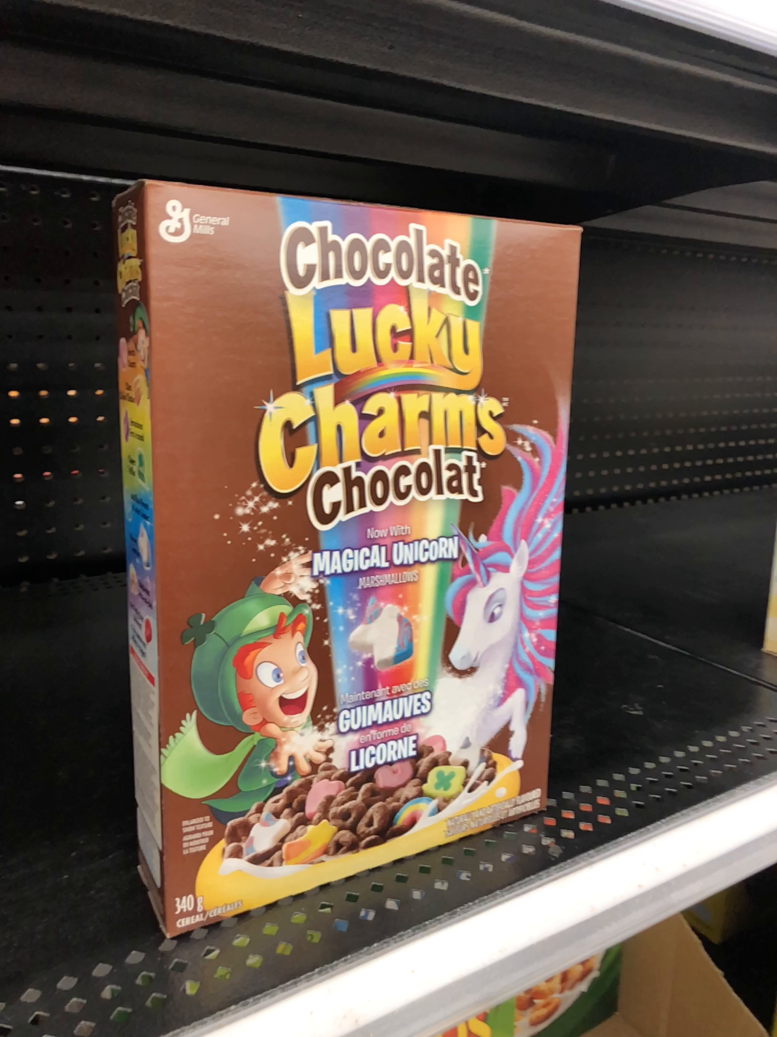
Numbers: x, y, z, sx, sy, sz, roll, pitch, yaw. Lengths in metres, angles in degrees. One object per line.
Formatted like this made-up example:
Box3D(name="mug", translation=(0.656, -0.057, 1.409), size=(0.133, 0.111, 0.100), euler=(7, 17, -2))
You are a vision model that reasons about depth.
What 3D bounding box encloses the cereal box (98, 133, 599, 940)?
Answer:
Box3D(name="cereal box", translation=(-0.010, 0.006, 0.371), size=(0.200, 0.289, 0.050), euler=(-6, 13, -30))
